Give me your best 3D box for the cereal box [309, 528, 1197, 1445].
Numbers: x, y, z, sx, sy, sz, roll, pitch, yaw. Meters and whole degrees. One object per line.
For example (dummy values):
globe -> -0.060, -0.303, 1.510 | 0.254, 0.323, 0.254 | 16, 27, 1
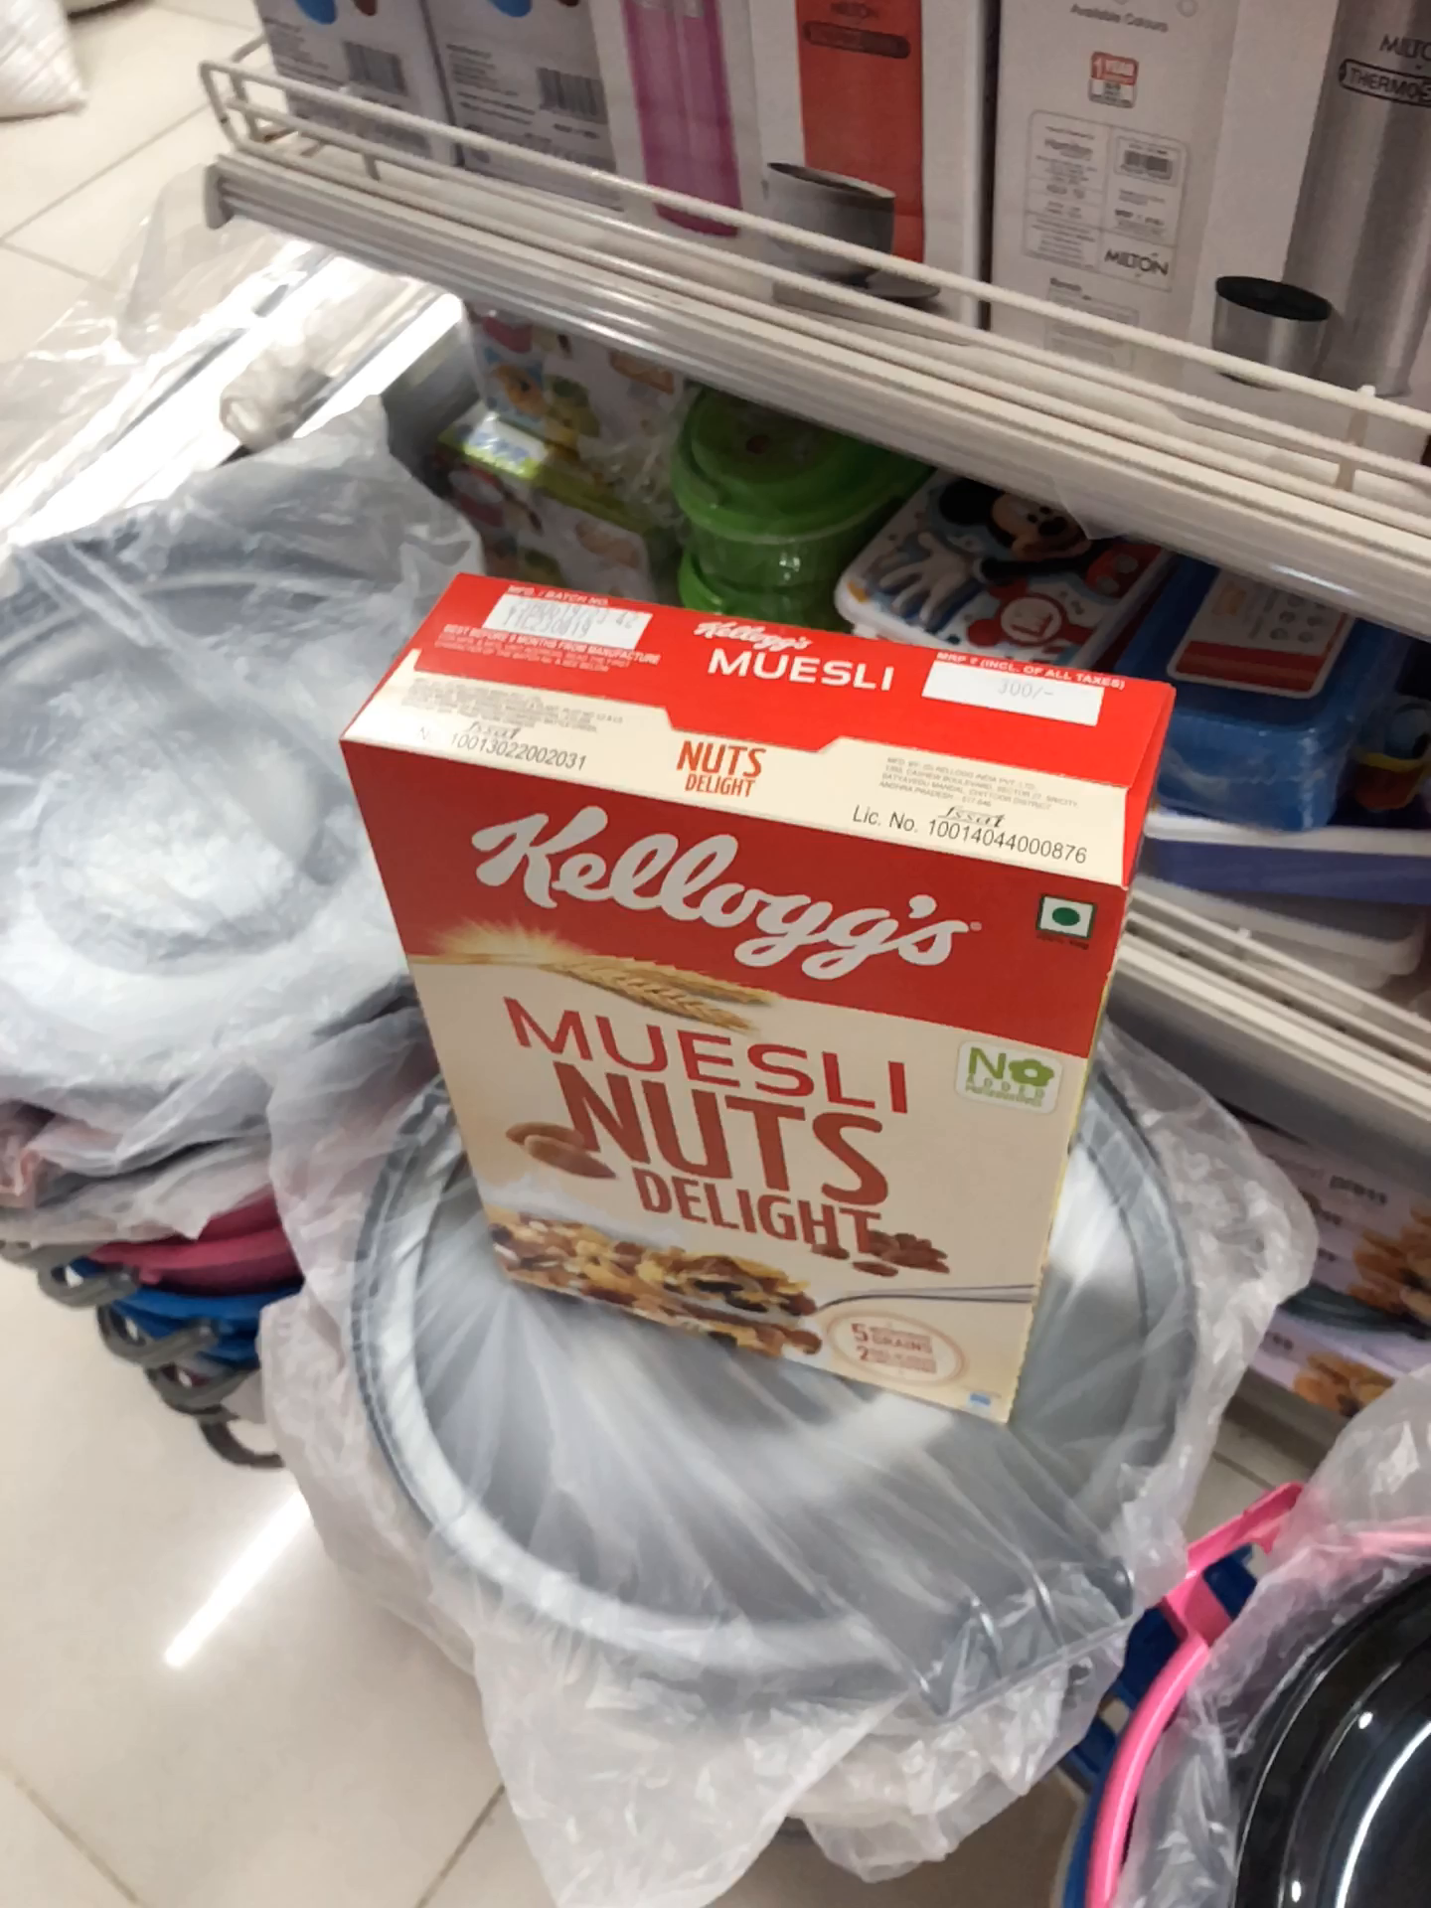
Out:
cereal box -> 0.012, 0.024, 0.460 | 0.190, 0.259, 0.070 | 14, 50, 14
